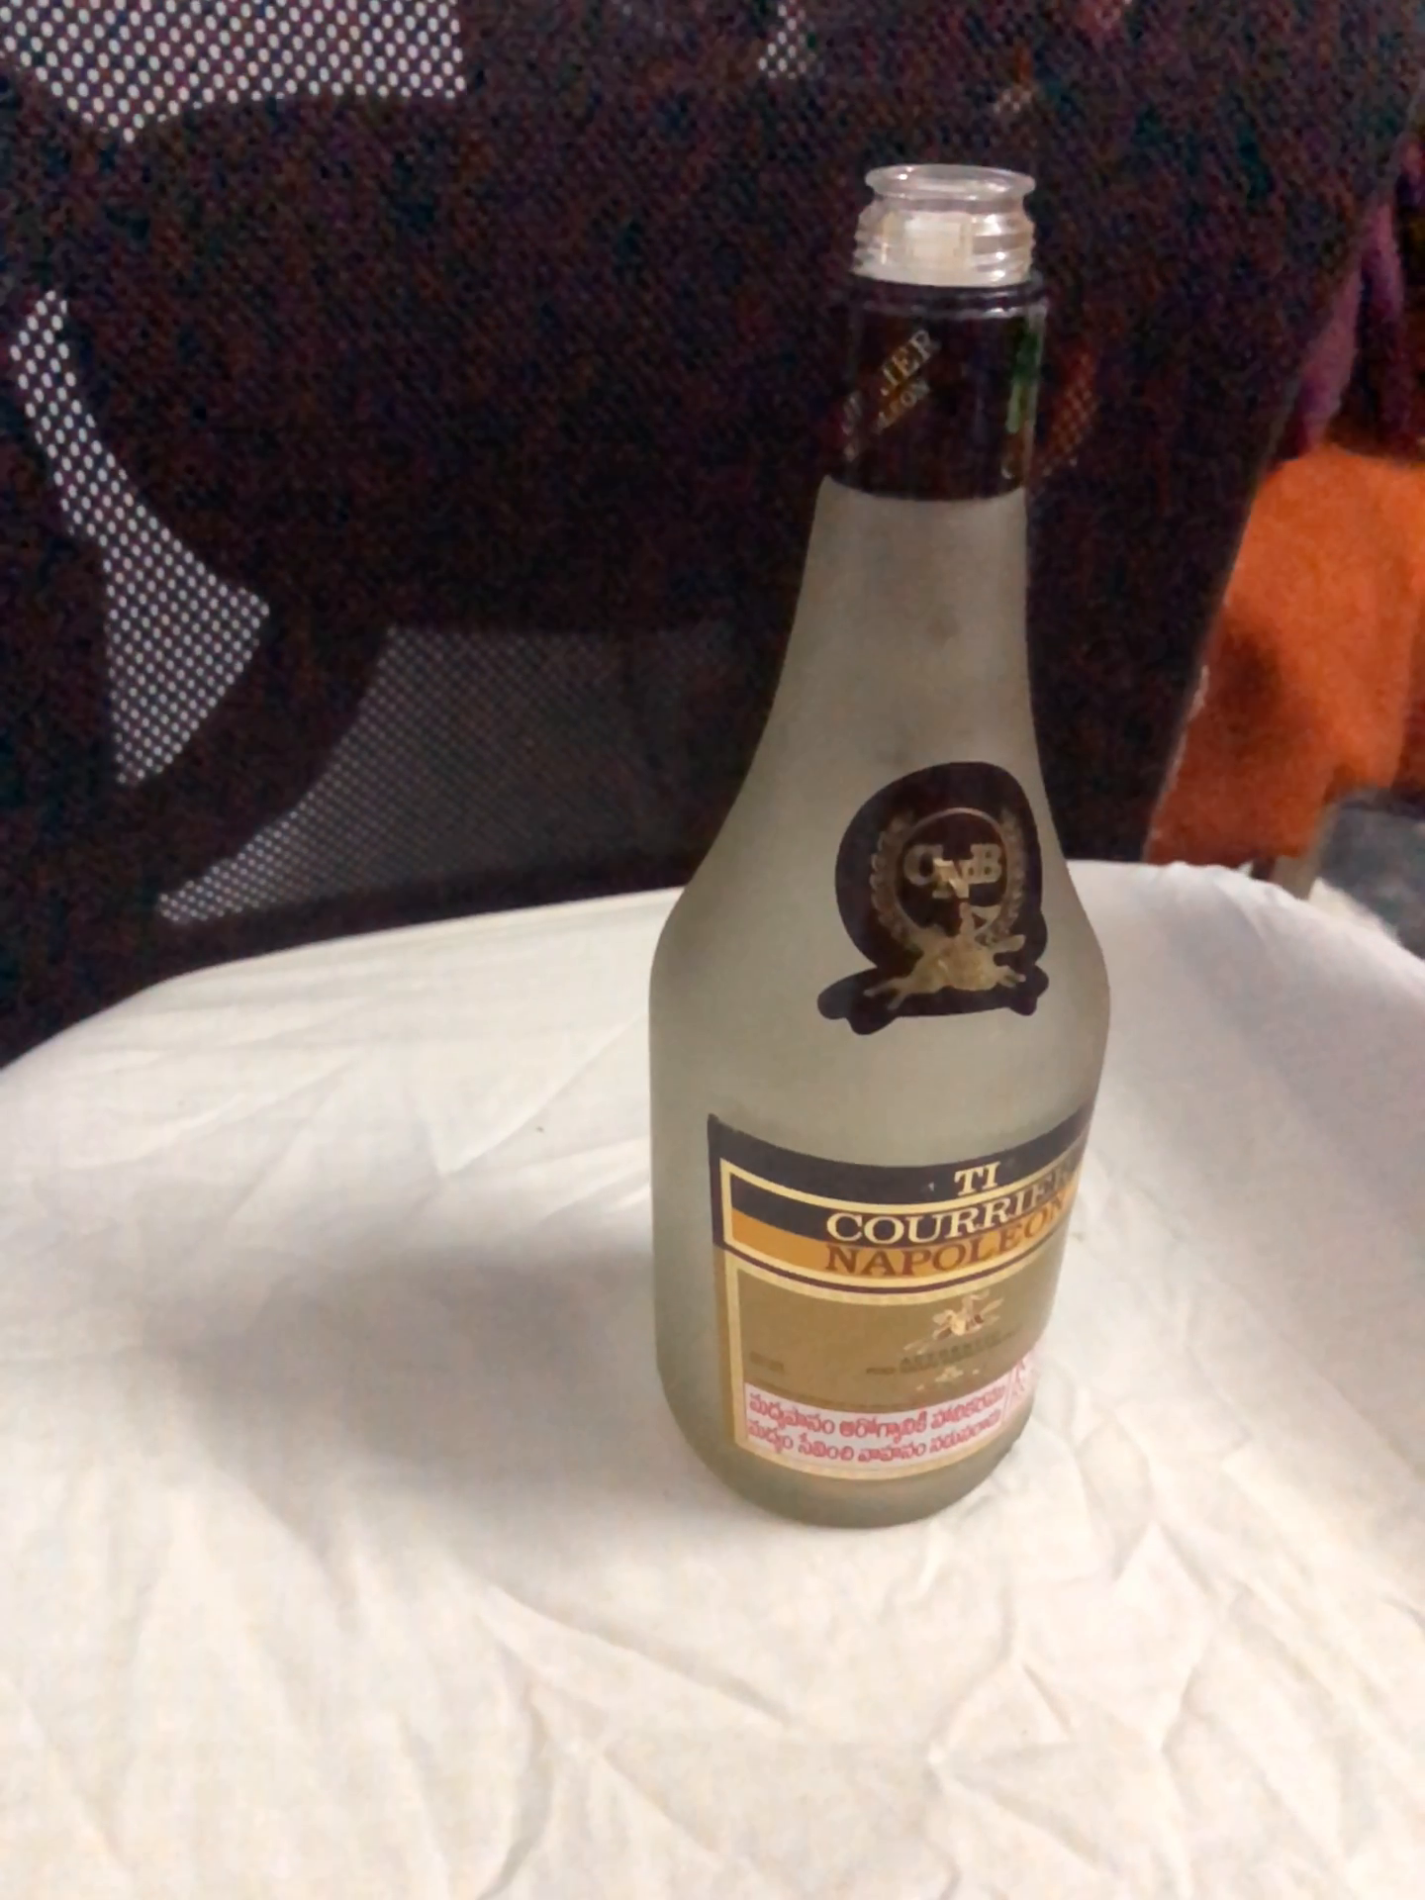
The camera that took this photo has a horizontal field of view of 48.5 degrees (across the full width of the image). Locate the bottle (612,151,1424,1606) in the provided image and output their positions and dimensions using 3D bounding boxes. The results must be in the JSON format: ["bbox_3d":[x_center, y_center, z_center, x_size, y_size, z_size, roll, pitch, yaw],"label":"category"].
[{"bbox_3d":[0.039,-0.003,0.281,0.090,0.239,0.080,-8,35,-18],"label":"bottle"}]
